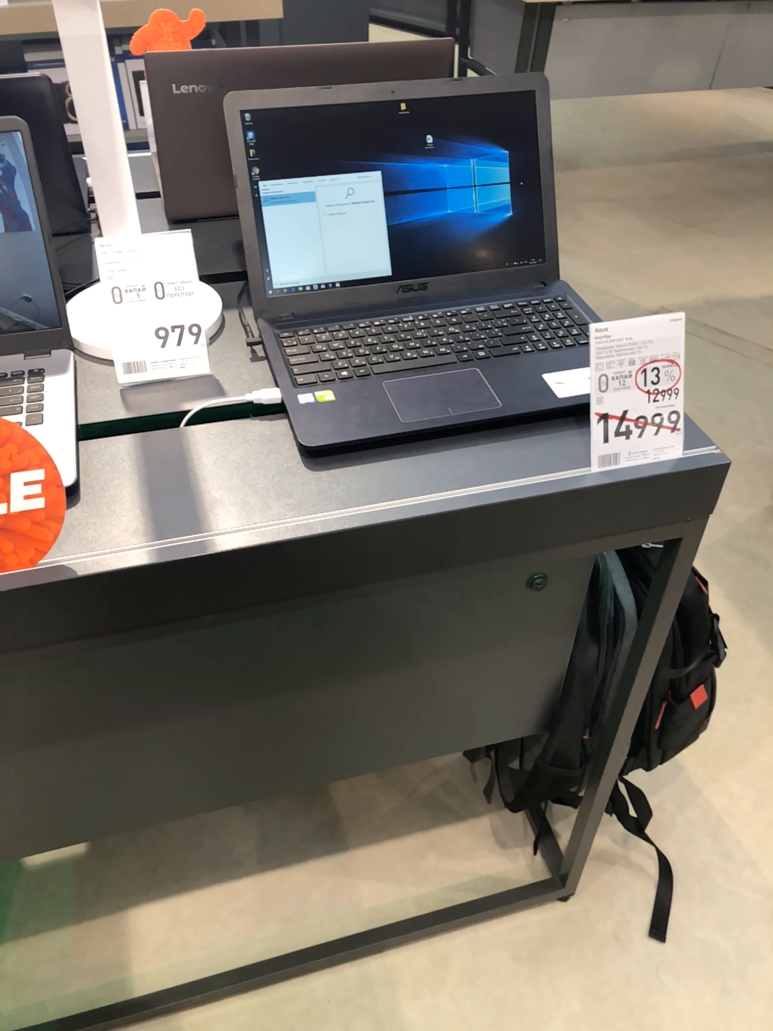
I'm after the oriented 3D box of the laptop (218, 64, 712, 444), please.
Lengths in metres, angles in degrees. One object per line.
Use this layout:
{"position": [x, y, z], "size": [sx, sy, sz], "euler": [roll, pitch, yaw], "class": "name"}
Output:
{"position": [0.050, -0.301, 0.906], "size": [0.380, 0.209, 0.371], "euler": [-10, 43, -12], "class": "laptop"}
